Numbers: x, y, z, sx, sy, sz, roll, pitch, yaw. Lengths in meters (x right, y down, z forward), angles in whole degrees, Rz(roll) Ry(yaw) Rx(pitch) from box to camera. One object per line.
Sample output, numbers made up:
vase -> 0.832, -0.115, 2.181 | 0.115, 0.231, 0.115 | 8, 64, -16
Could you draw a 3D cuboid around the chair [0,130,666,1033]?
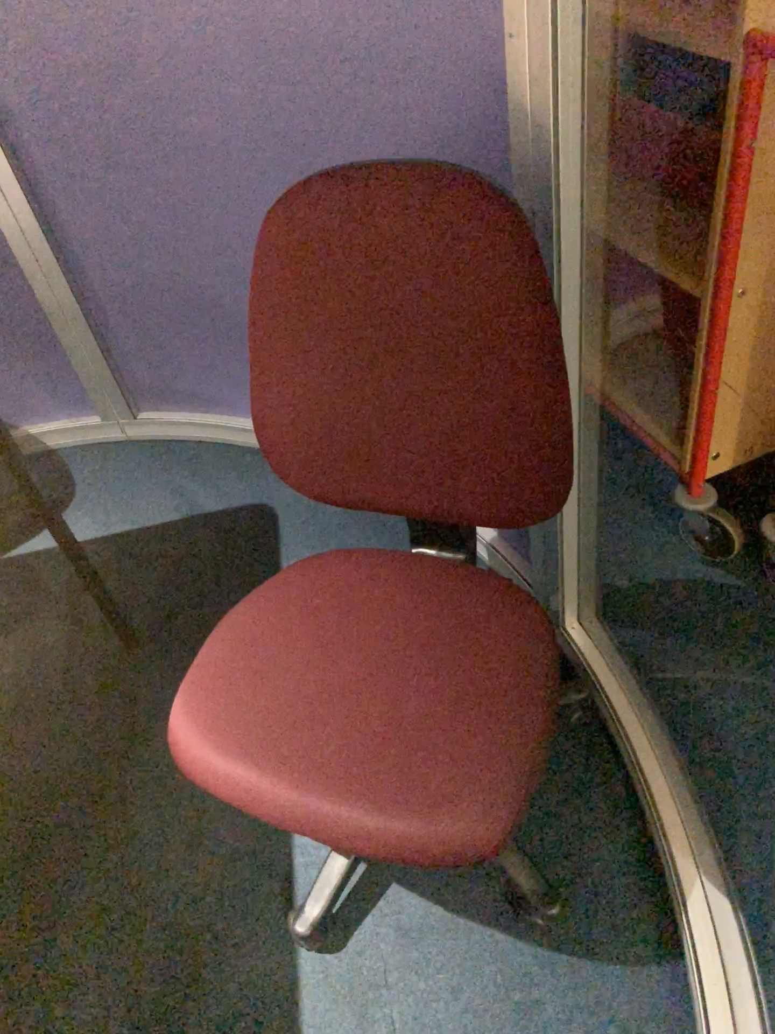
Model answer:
chair -> 0.010, 0.042, 1.096 | 0.581, 0.772, 0.857 | 7, 47, 20
